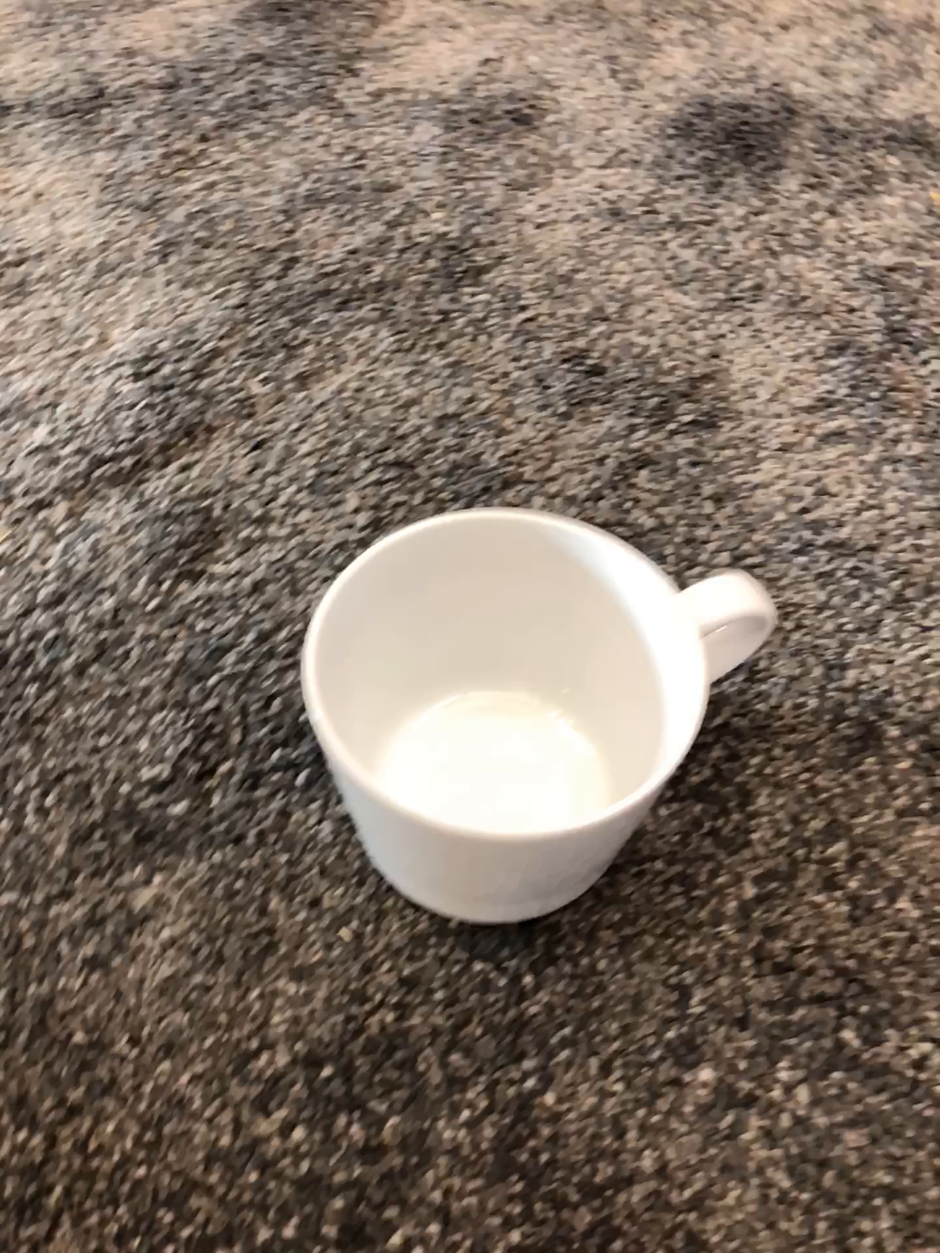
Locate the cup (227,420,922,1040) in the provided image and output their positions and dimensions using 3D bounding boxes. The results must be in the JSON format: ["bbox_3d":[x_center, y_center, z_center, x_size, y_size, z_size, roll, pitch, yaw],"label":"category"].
[{"bbox_3d":[0.023,0.025,0.289,0.140,0.080,0.100,-22,57,-16],"label":"cup"}]
